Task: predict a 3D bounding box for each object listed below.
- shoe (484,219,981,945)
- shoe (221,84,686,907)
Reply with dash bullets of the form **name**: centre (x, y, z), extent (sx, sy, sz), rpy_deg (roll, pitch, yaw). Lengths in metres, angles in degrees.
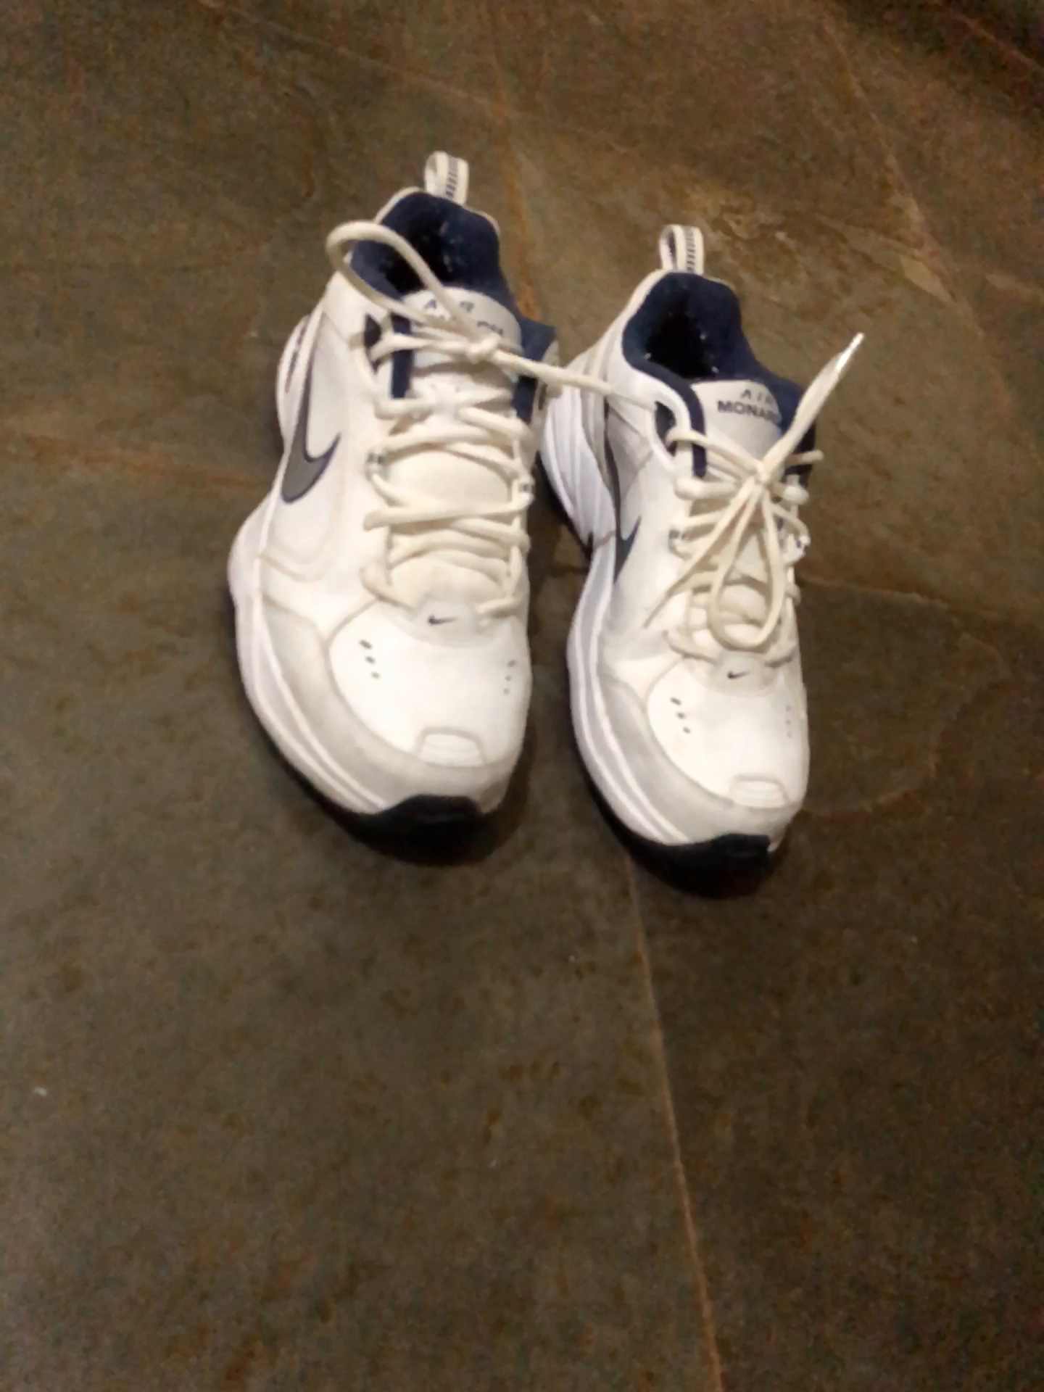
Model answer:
- **shoe**: centre (0.076, -0.054, 0.543), extent (0.120, 0.149, 0.302), rpy_deg (9, 55, -23)
- **shoe**: centre (-0.050, -0.083, 0.478), extent (0.120, 0.149, 0.302), rpy_deg (7, 56, -24)
